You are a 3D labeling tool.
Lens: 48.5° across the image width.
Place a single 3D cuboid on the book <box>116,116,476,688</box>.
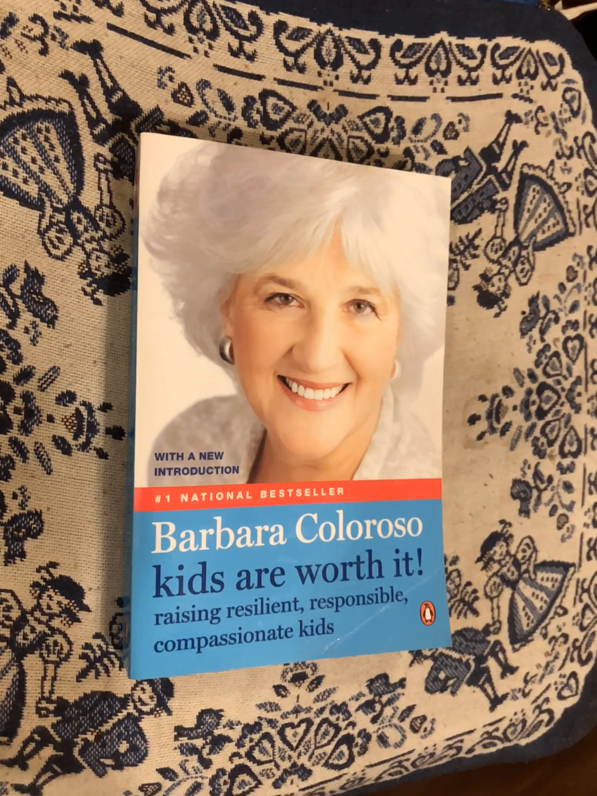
[{"bbox_3d":[0.000,0.004,0.305,0.150,0.050,0.220,2,90,-21],"label":"book"}]
